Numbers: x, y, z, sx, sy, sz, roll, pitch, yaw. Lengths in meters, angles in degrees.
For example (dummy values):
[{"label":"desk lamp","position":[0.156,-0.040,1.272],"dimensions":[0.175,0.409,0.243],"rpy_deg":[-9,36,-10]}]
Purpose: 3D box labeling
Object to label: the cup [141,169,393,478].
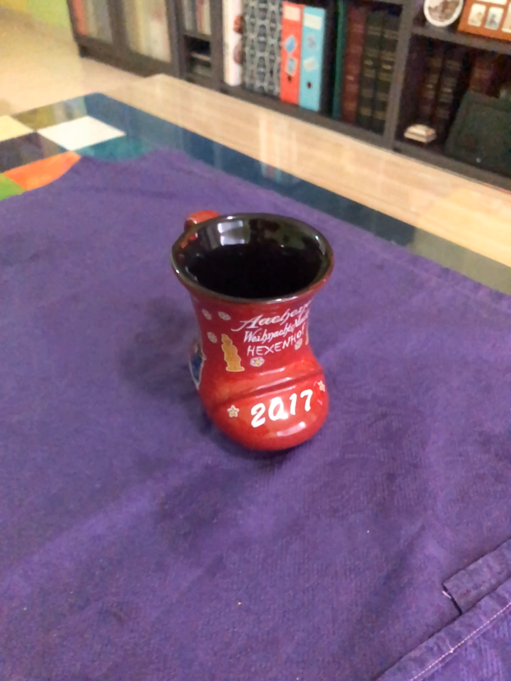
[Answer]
[{"label":"cup","position":[-0.001,-0.015,0.293],"dimensions":[0.070,0.090,0.120],"rpy_deg":[-17,43,-18]}]
